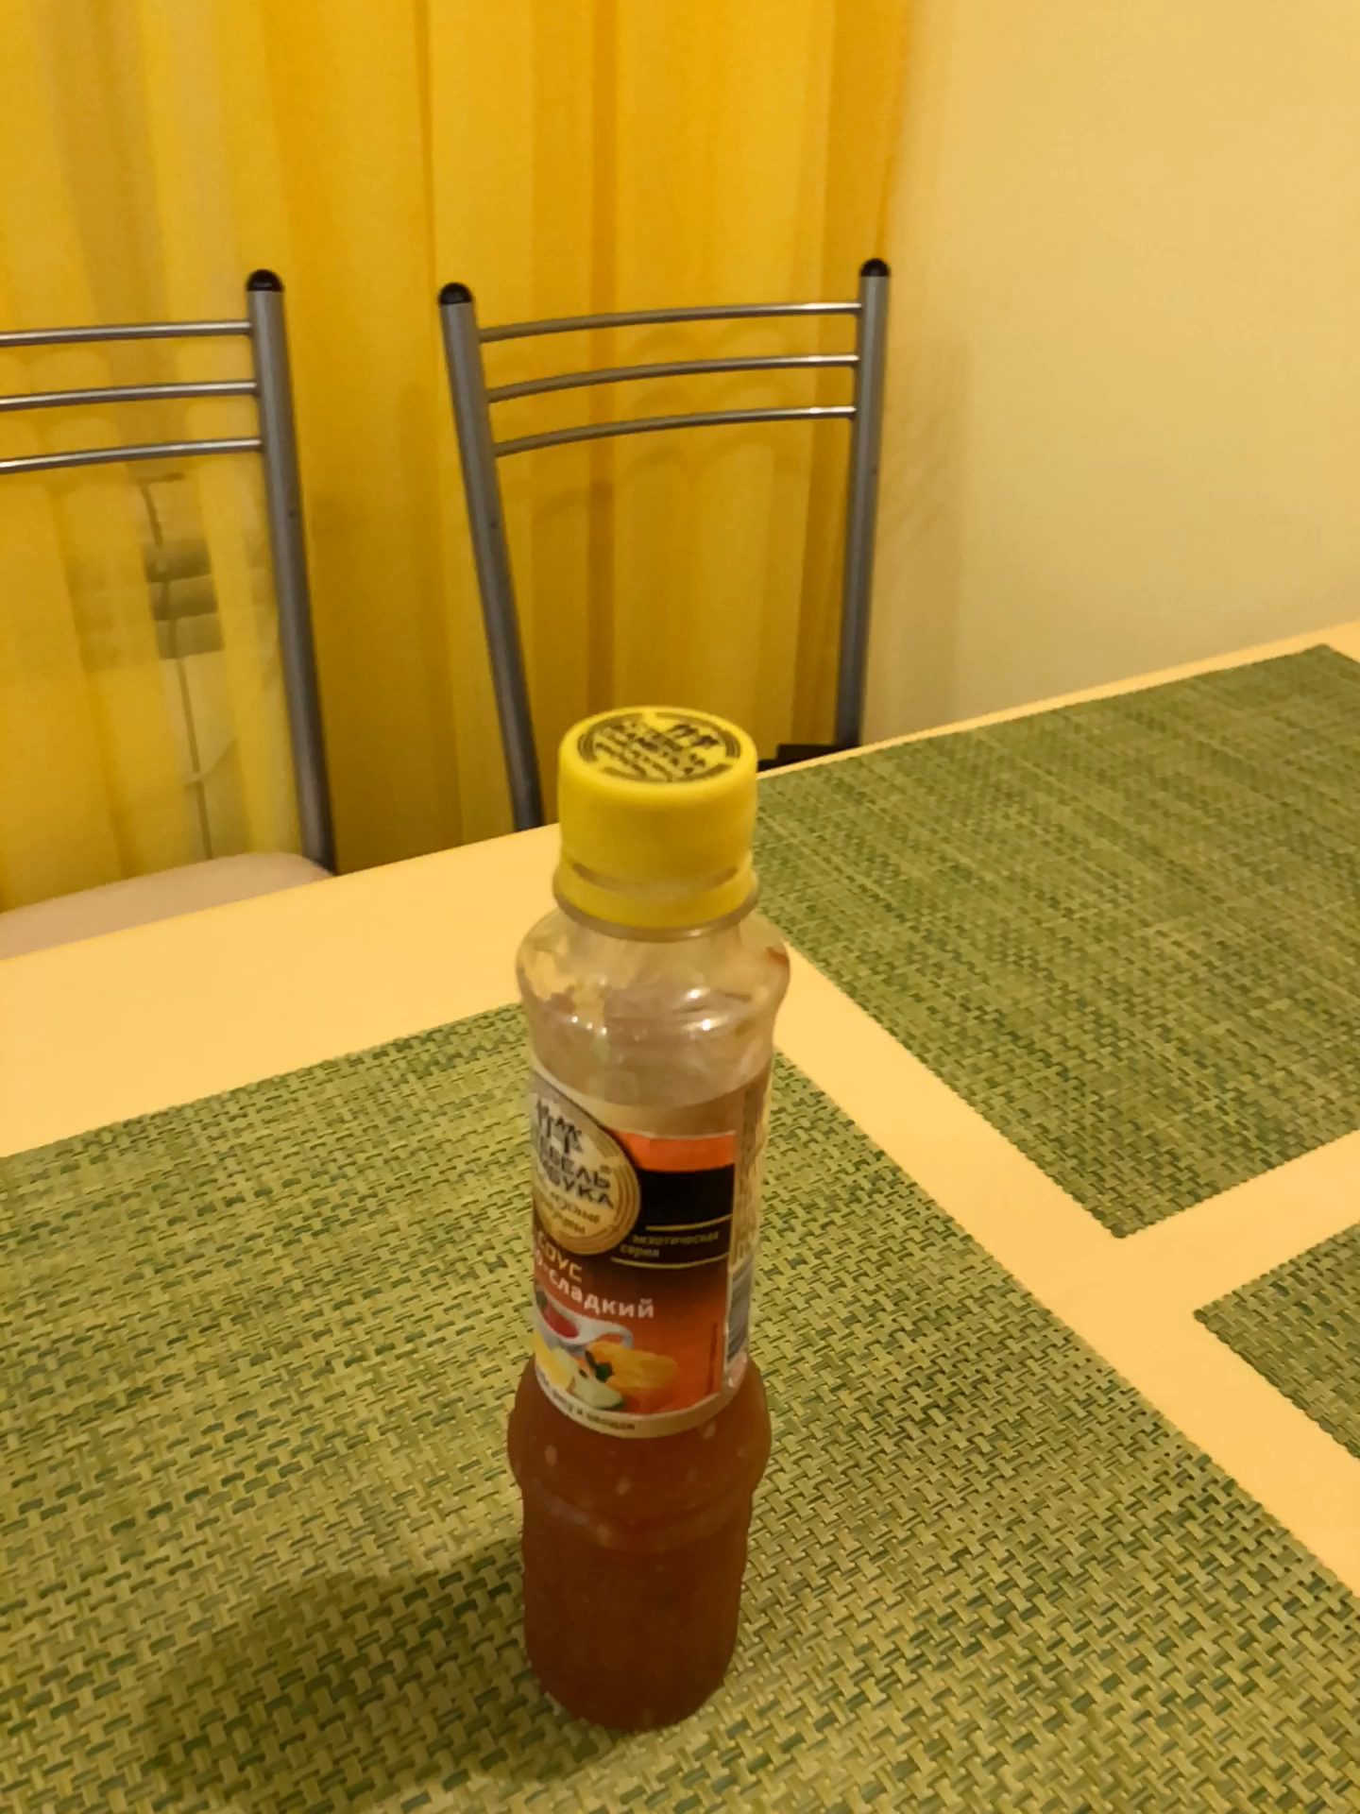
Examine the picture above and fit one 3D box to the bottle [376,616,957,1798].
[{"bbox_3d":[-0.007,0.062,0.272,0.060,0.208,0.060,2,32,-1],"label":"bottle"}]
